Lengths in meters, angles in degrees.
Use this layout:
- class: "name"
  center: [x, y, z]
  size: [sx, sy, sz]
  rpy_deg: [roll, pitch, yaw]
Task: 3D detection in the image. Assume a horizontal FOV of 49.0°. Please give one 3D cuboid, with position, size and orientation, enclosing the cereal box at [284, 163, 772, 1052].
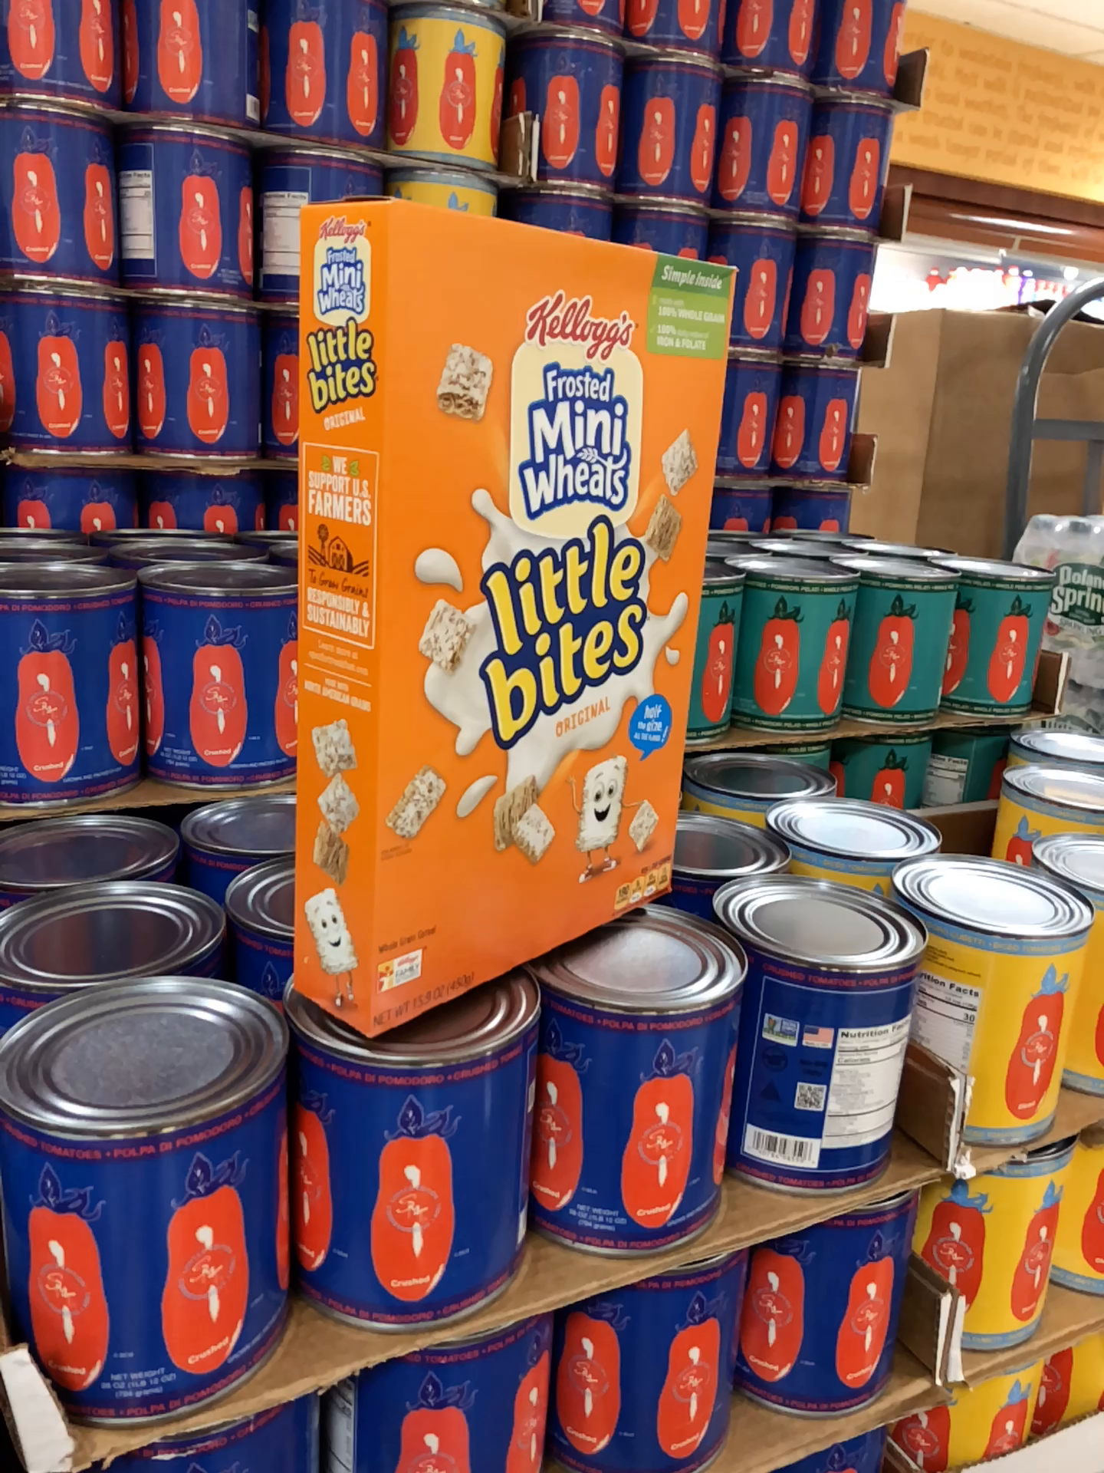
- class: "cereal box"
  center: [-0.005, -0.052, 0.483]
  size: [0.060, 0.289, 0.201]
  rpy_deg: [16, 19, 36]
